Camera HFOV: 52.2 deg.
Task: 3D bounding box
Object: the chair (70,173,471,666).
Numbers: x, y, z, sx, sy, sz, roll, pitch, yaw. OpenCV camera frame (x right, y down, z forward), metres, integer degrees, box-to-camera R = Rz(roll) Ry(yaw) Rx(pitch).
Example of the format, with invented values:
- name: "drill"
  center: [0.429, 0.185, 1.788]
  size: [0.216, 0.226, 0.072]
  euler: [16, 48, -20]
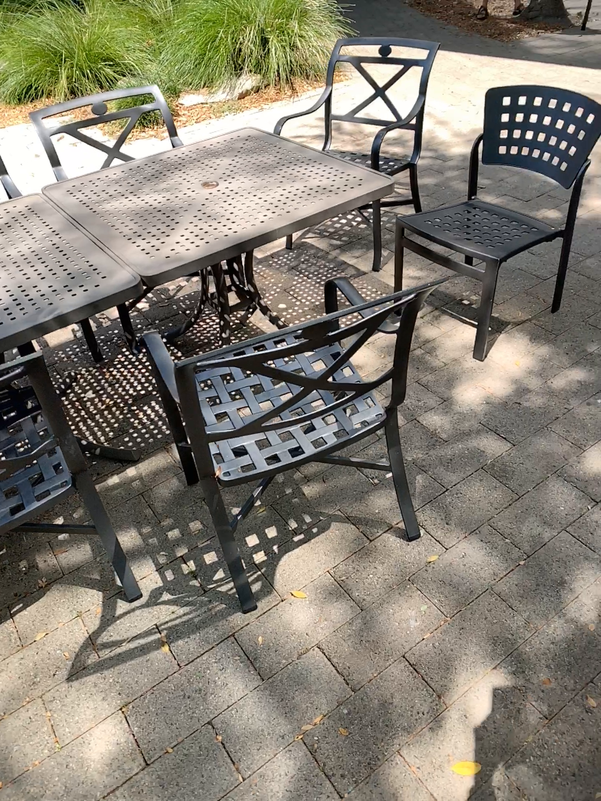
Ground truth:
- name: "chair"
  center: [-0.076, 0.039, 1.517]
  size: [0.630, 0.885, 0.614]
  euler: [-18, 42, -15]
